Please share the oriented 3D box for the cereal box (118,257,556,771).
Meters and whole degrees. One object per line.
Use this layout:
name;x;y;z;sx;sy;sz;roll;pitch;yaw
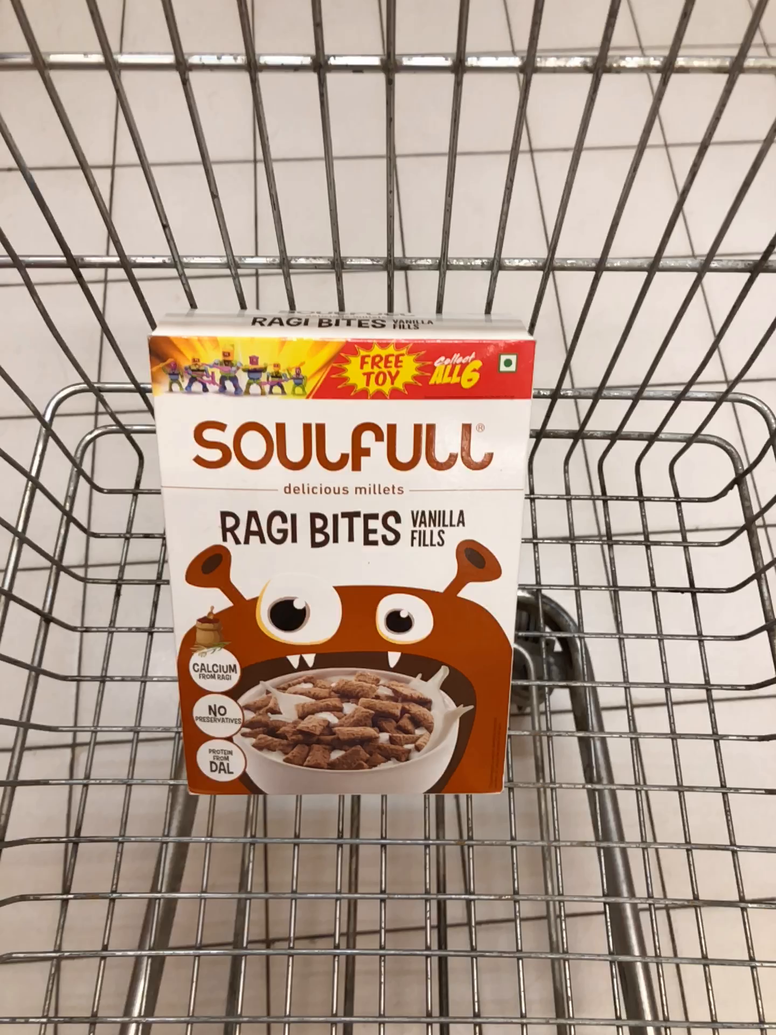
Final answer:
cereal box;-0.025;0.004;0.435;0.180;0.249;0.070;1;23;-3
